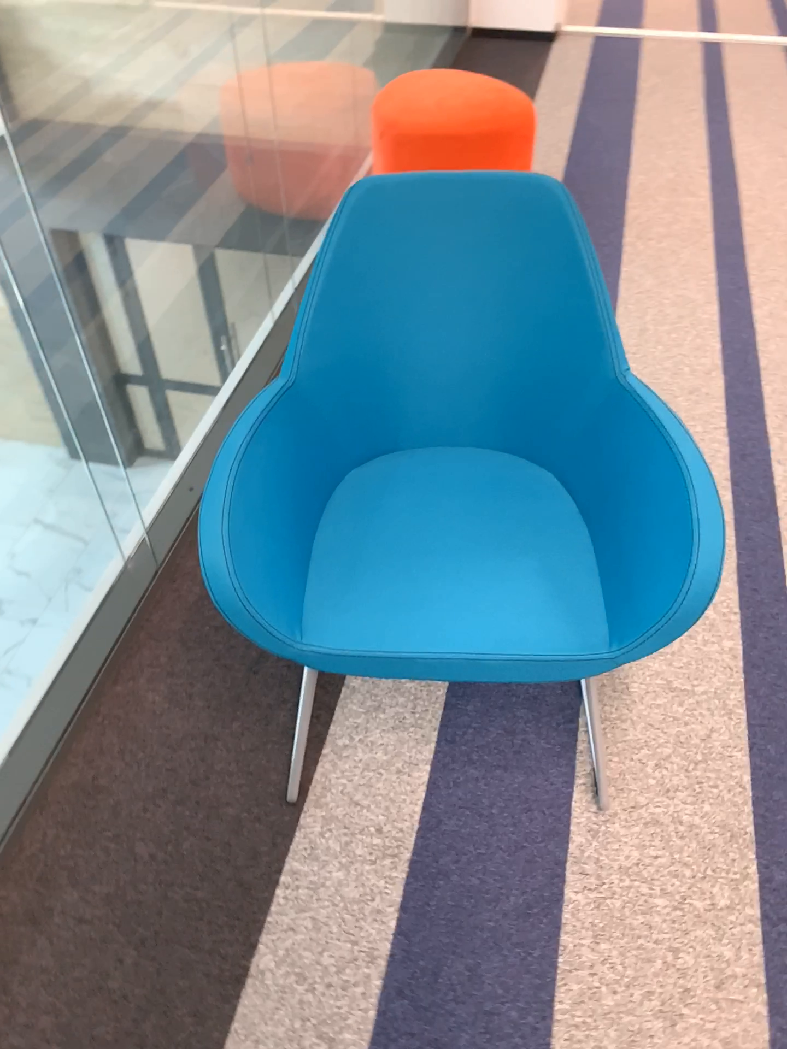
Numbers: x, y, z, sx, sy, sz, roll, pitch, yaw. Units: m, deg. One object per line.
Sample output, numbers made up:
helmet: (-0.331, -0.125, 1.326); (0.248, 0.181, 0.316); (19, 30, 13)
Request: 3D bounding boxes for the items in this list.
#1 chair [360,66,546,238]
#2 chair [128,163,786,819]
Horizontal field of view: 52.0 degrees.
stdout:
chair: (0.225, -1.466, 3.148); (0.639, 0.396, 0.653); (1, 46, 3)
chair: (0.094, -0.031, 1.318); (0.671, 0.836, 0.653); (1, 46, 3)
